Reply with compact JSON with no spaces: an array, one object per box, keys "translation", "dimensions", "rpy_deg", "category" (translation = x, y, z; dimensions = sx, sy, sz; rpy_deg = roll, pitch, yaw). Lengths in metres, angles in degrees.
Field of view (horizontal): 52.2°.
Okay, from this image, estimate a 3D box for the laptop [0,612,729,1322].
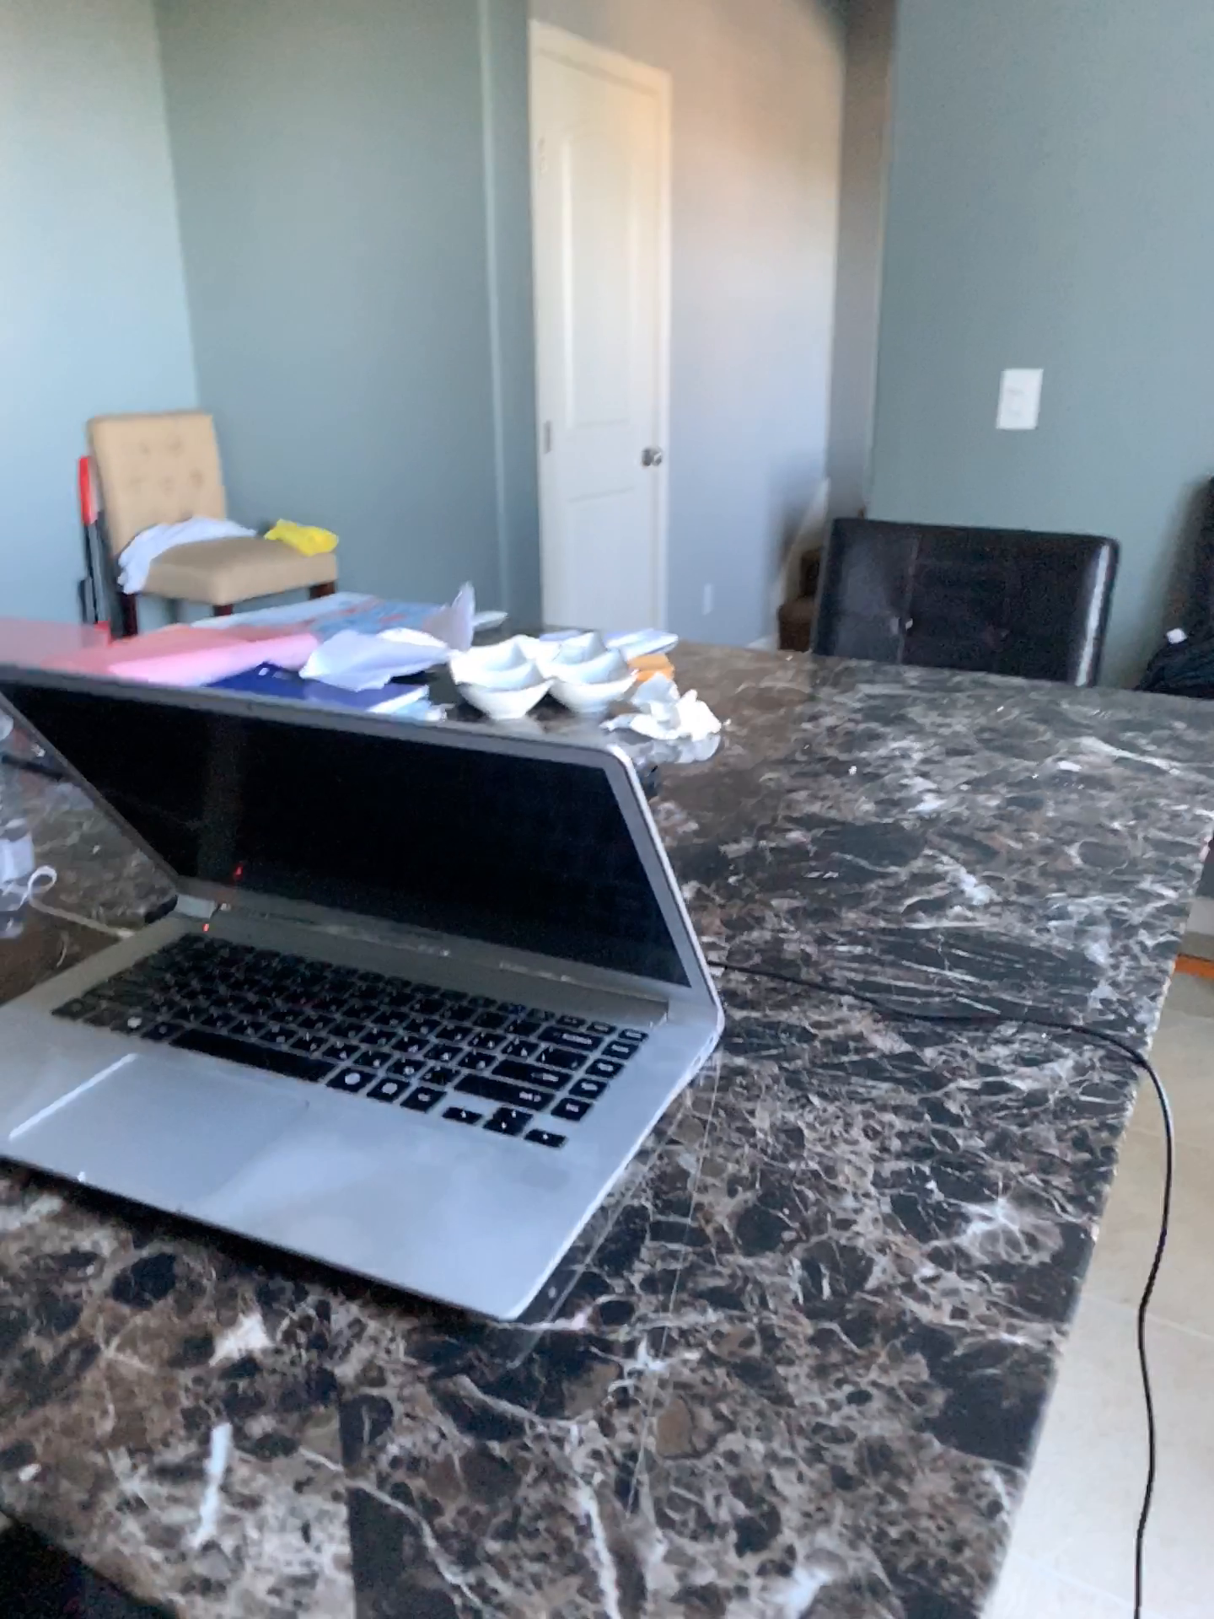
[{"translation":[-0.153,0.034,0.588],"dimensions":[0.361,0.188,0.235],"rpy_deg":[8,21,23],"category":"laptop"}]
